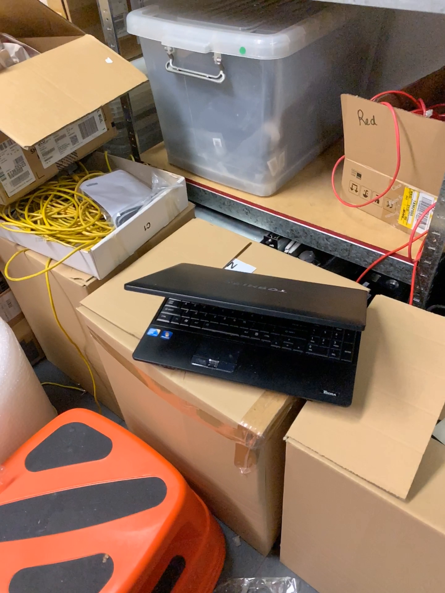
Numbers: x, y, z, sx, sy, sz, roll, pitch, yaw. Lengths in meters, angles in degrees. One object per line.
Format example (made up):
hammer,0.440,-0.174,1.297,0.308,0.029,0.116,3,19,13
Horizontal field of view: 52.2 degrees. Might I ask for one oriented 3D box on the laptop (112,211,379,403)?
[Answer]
laptop,0.049,0.003,0.749,0.354,0.135,0.232,10,48,14
